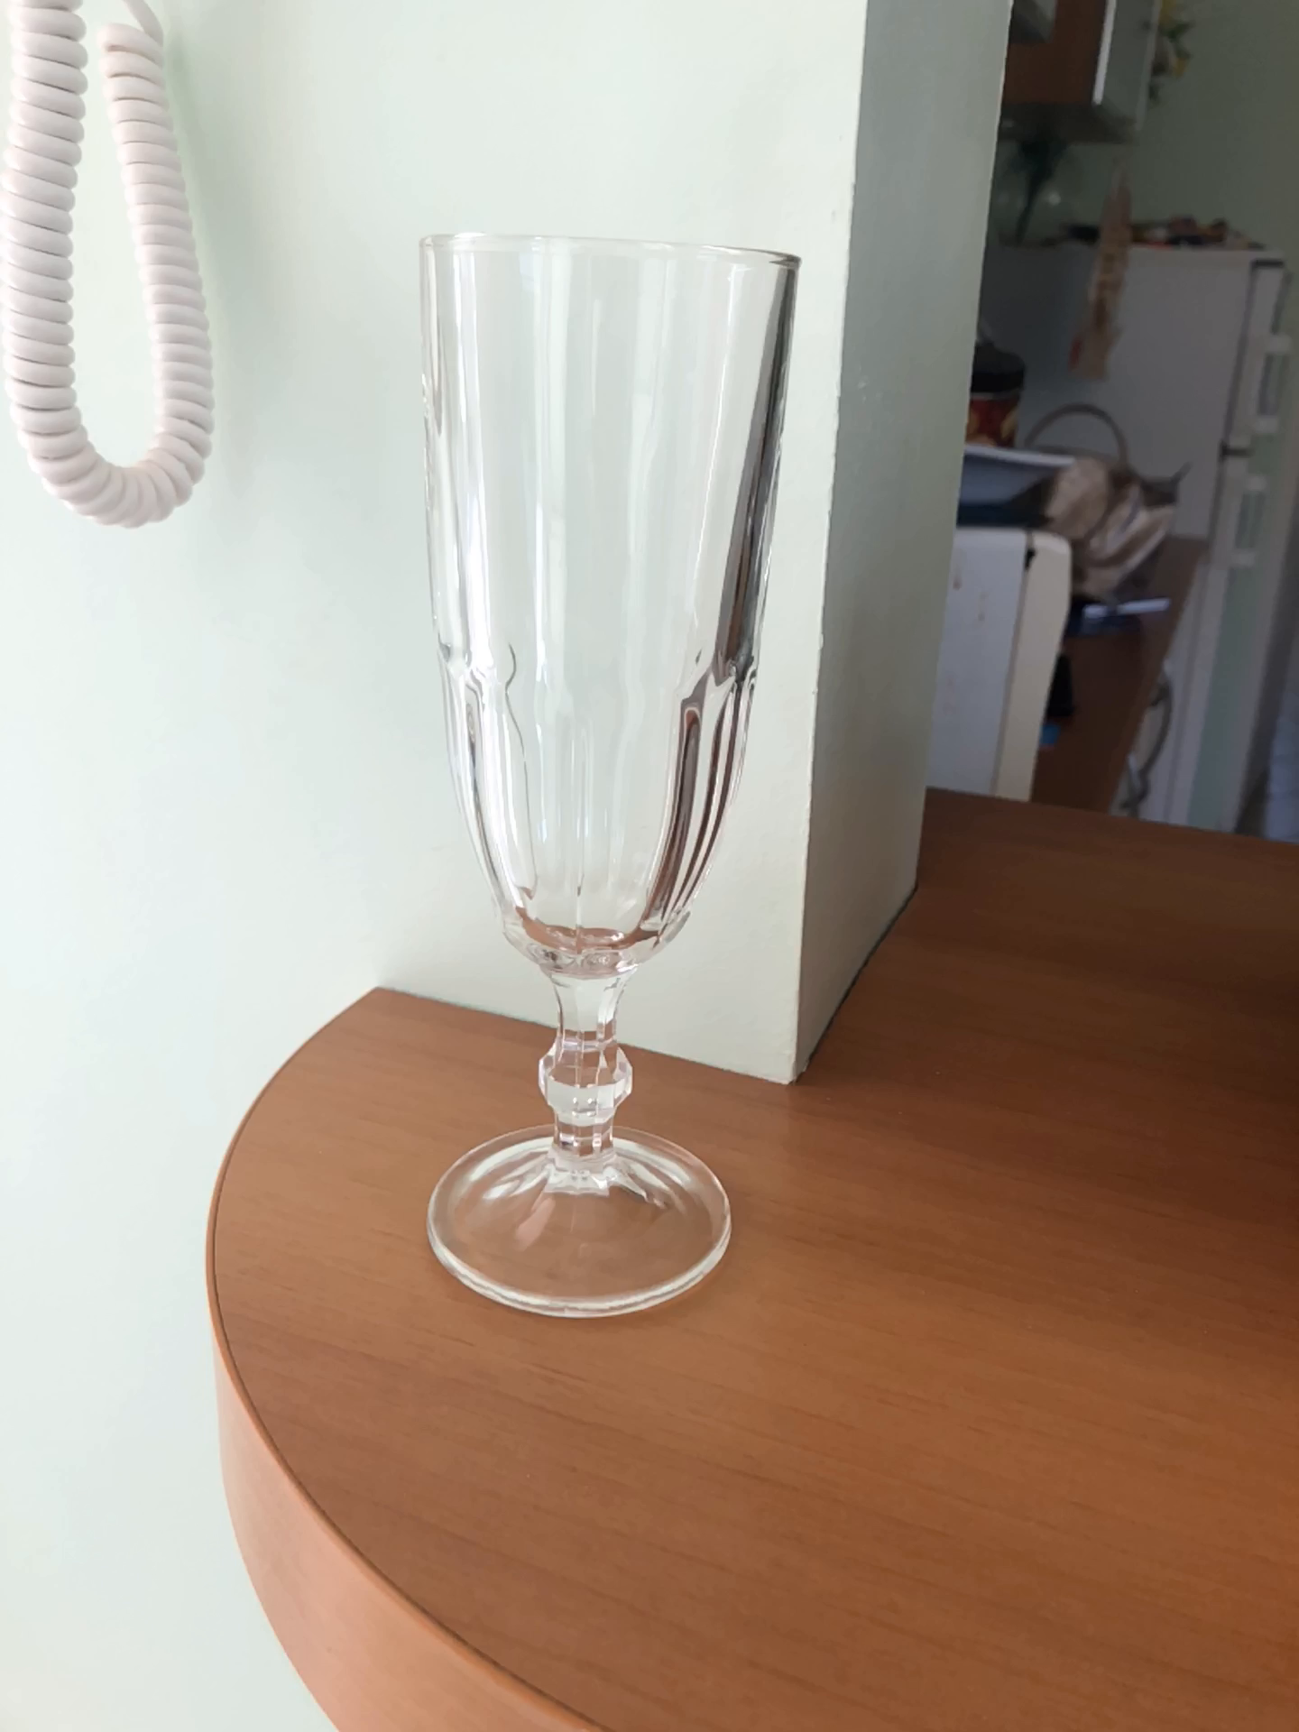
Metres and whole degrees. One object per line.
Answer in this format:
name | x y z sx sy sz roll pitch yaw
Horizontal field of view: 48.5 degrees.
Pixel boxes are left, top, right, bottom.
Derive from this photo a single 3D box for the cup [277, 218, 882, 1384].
cup | -0.015 -0.014 0.242 0.060 0.169 0.070 -13 26 -35
